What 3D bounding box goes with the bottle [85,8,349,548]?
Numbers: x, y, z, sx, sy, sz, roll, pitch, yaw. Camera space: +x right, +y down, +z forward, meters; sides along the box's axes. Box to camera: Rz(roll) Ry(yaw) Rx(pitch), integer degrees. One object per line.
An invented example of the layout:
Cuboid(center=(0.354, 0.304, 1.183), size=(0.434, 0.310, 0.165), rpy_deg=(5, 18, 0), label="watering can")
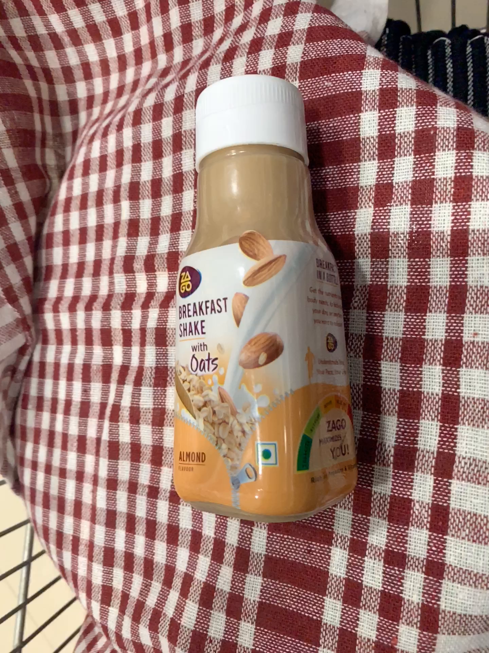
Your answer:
Cuboid(center=(-0.007, -0.011, 0.168), size=(0.060, 0.050, 0.140), rpy_deg=(-4, 89, 30), label="bottle")
